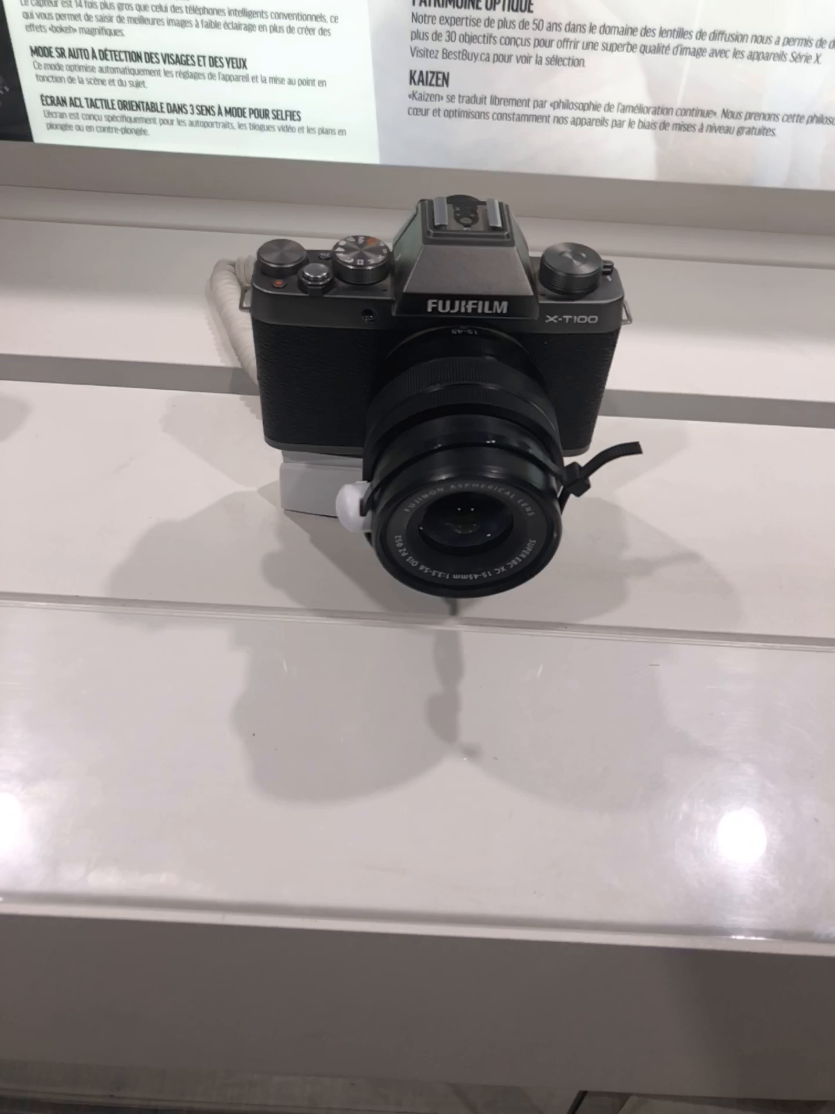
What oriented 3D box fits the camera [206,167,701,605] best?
[{"bbox_3d":[0.009,-0.059,0.315,0.130,0.099,0.108,2,44,-1],"label":"camera"}]
